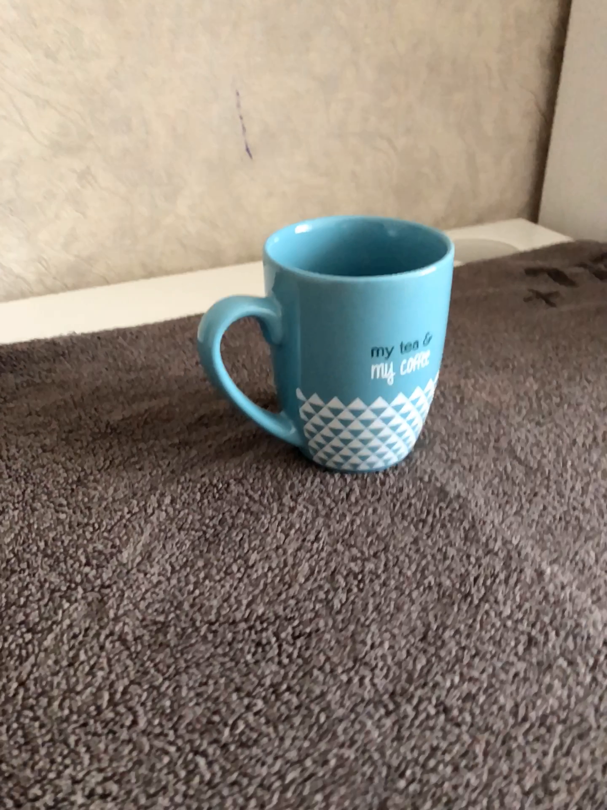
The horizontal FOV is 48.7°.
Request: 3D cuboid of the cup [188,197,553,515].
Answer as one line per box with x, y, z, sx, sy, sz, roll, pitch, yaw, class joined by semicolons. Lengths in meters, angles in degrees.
0.027;-0.031;0.304;0.126;0.089;0.087;-17;35;-25;cup
